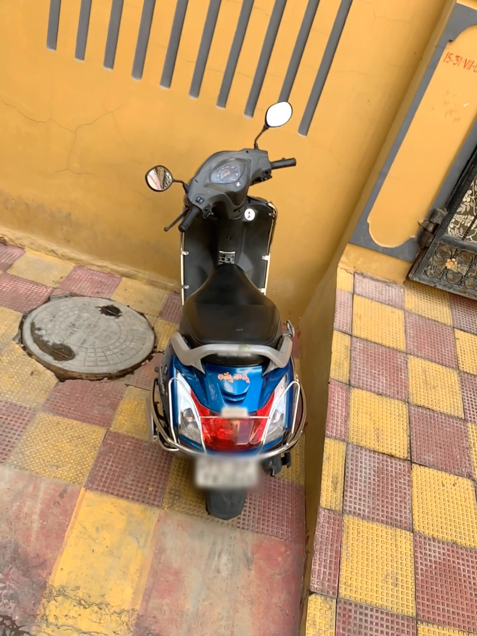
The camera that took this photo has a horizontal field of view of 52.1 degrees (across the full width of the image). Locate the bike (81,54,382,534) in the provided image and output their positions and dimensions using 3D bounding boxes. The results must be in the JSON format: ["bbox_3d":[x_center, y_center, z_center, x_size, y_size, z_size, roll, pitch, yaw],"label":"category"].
[{"bbox_3d":[-0.172,-0.229,2.037,0.596,1.097,1.534,11,35,-16],"label":"bike"}]
